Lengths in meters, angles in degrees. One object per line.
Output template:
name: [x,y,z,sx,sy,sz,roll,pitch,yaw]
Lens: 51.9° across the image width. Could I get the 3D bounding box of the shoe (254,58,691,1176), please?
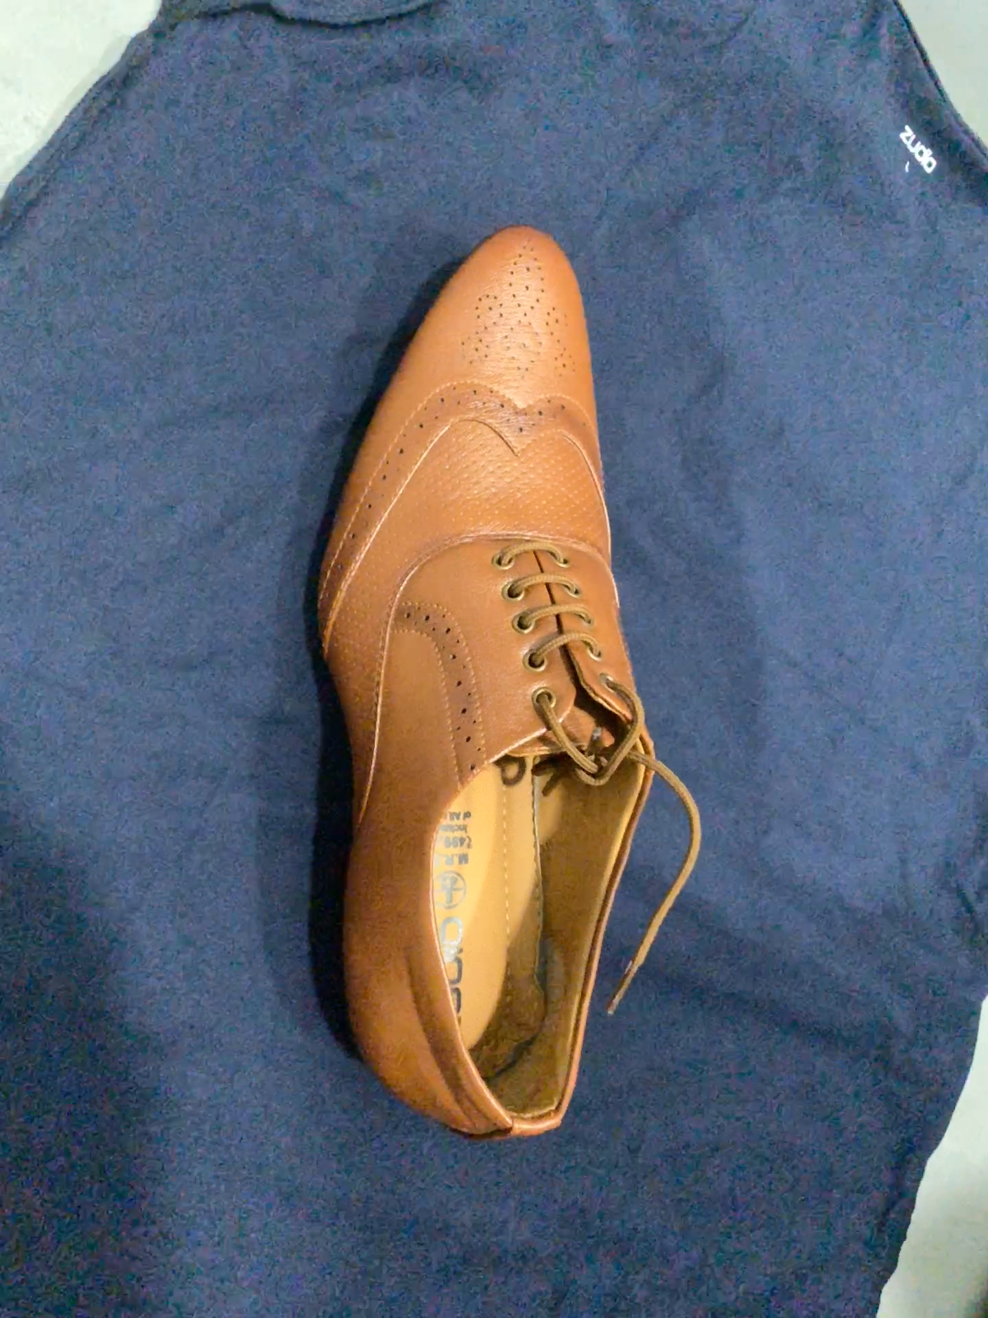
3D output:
shoe: [-0.008,-0.013,0.347,0.100,0.090,0.320,7,82,-23]
